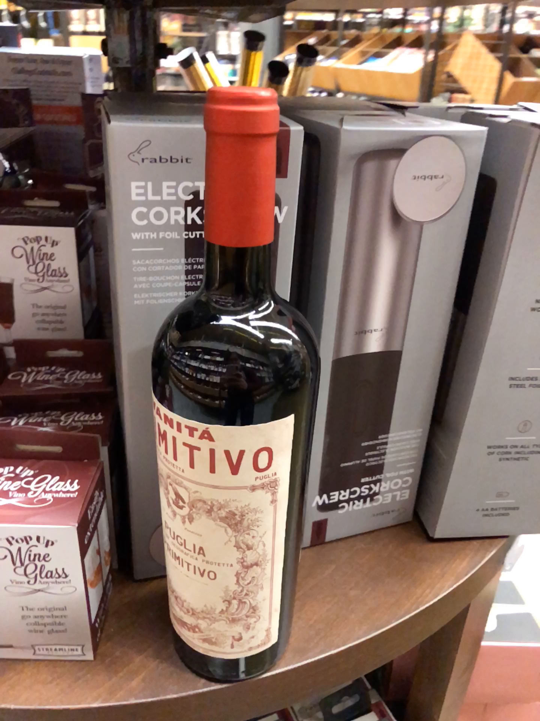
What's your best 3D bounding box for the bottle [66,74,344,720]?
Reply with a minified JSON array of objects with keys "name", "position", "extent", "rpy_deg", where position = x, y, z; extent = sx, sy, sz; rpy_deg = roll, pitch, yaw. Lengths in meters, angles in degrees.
[{"name":"bottle","position":[-0.027,0.030,0.287],"extent":[0.072,0.299,0.072],"rpy_deg":[1,27,-1]}]
